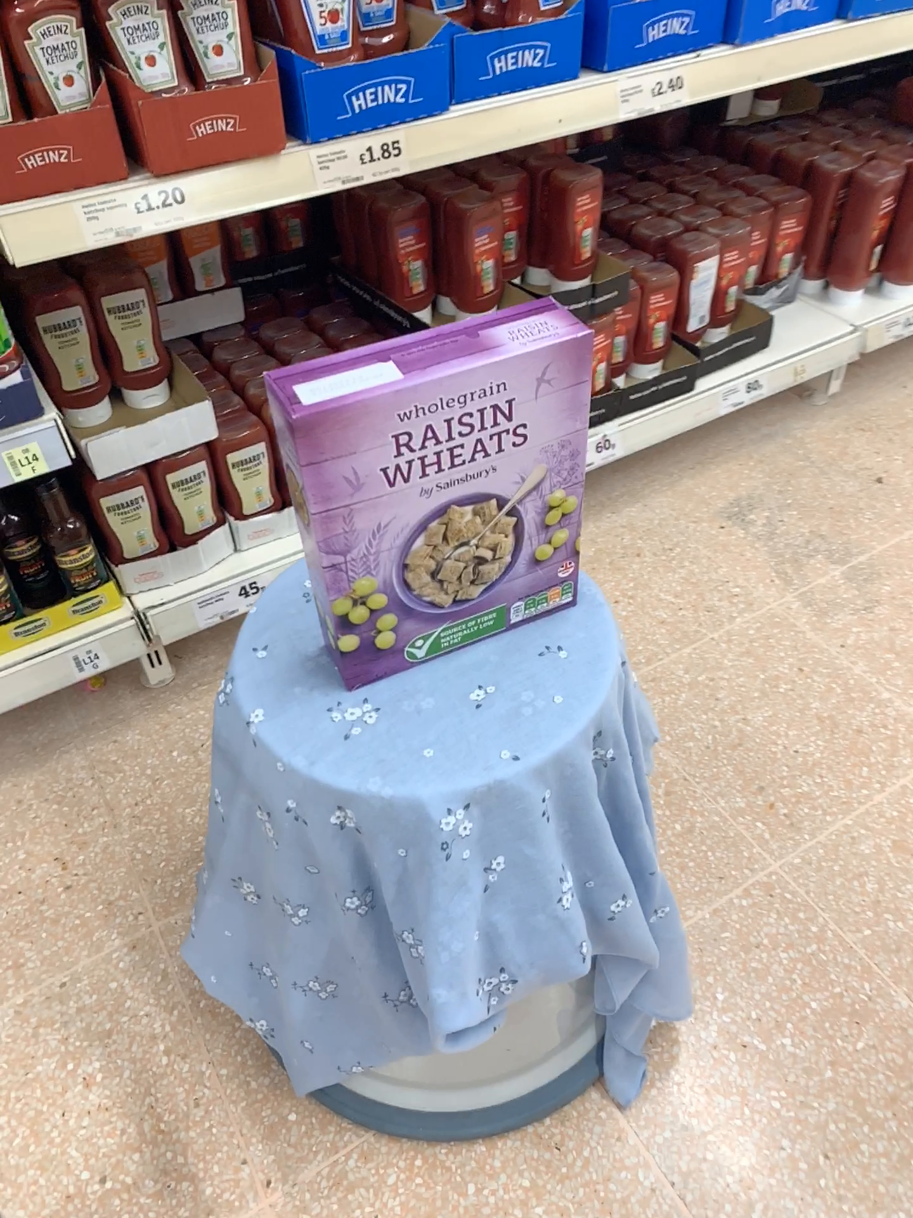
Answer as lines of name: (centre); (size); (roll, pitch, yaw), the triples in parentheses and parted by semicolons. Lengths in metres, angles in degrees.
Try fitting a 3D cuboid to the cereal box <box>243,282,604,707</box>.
cereal box: (-0.013, -0.068, 0.616); (0.200, 0.238, 0.060); (-20, 47, -17)
